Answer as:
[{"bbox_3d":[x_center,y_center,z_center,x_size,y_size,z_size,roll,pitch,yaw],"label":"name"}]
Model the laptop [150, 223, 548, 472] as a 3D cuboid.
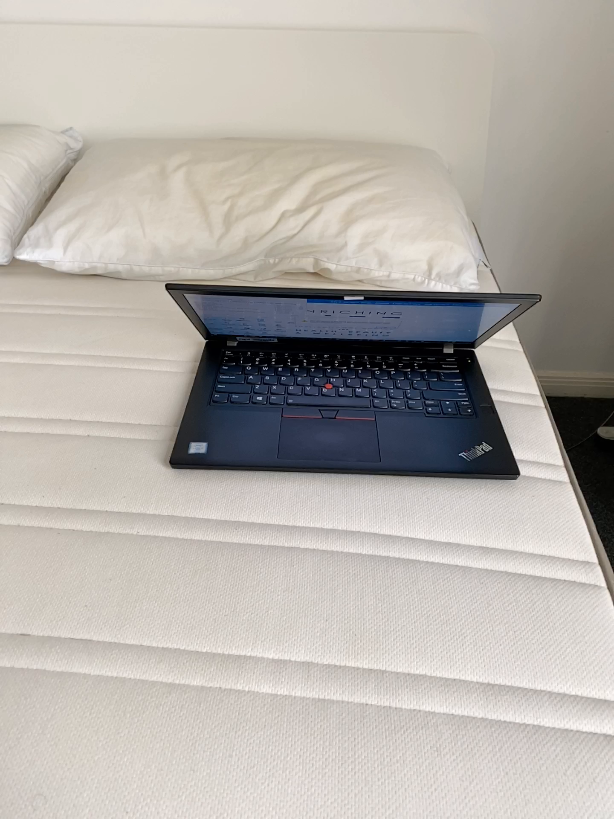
[{"bbox_3d":[0.036,-0.071,0.639,0.324,0.150,0.221,1,37,0],"label":"laptop"}]
